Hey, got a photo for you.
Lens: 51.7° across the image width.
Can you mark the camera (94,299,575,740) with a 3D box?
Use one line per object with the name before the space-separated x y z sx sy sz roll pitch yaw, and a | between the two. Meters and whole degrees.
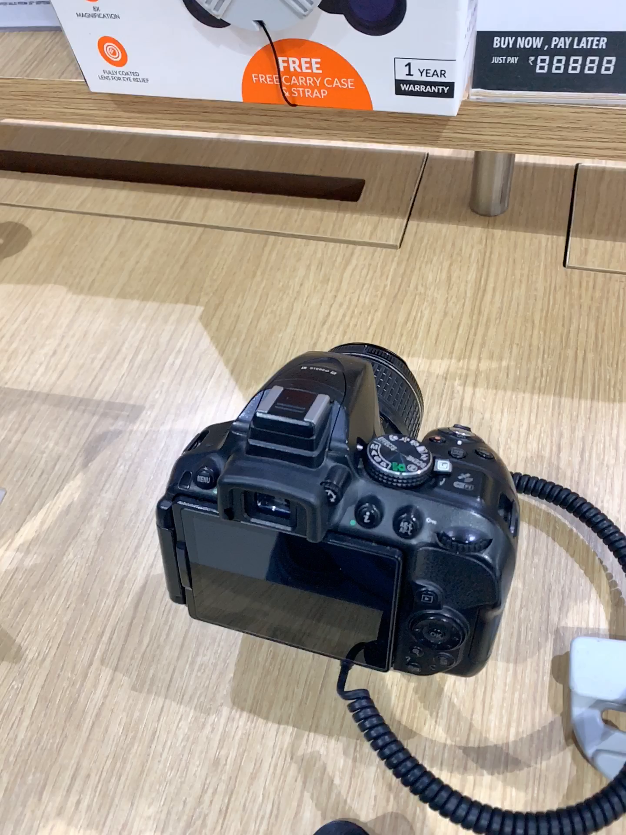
camera | 0.016 0.024 0.234 0.130 0.080 0.110 10 36 14
